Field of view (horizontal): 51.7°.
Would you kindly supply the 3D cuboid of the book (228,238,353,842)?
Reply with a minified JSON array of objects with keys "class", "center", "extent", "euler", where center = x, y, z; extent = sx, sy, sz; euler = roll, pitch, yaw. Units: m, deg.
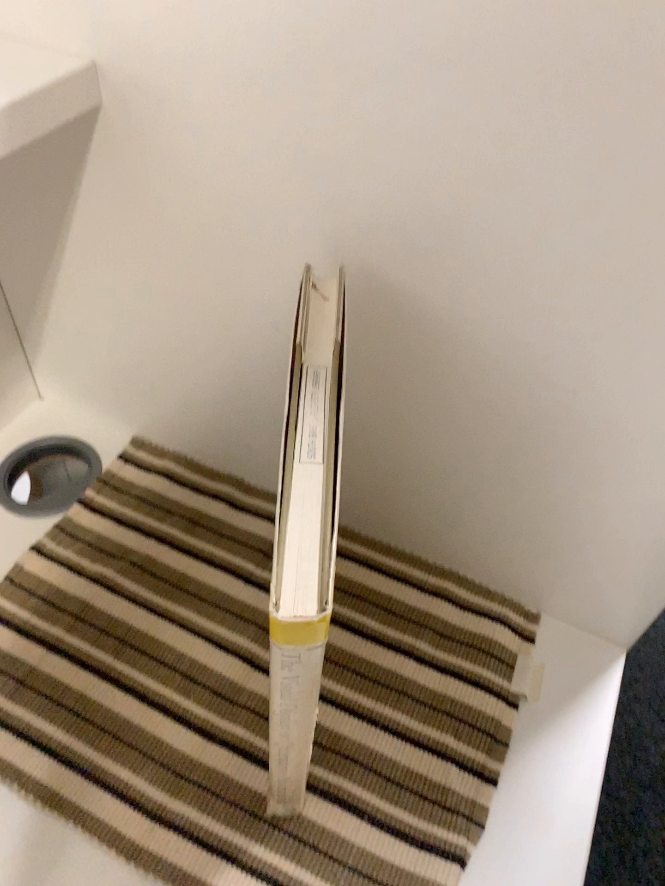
[{"class":"book","center":[-0.019,0.070,0.425],"extent":[0.040,0.287,0.252],"euler":[3,48,-1]}]
